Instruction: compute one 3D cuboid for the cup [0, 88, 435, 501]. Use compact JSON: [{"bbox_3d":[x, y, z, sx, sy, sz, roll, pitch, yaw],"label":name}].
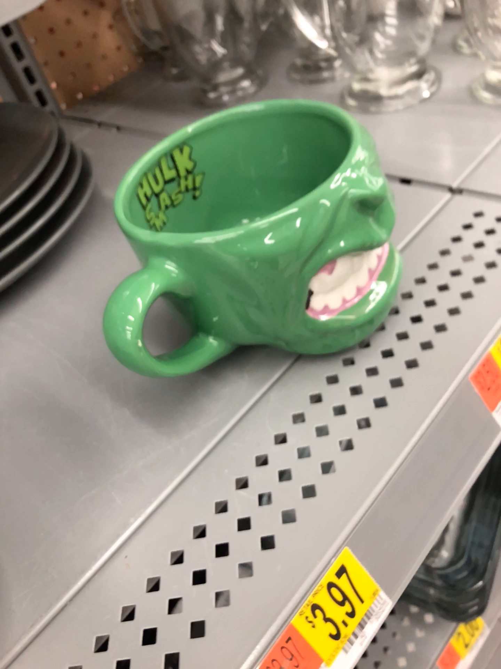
[{"bbox_3d":[-0.005,-0.031,0.259,0.116,0.089,0.148,22,56,35],"label":"cup"}]
